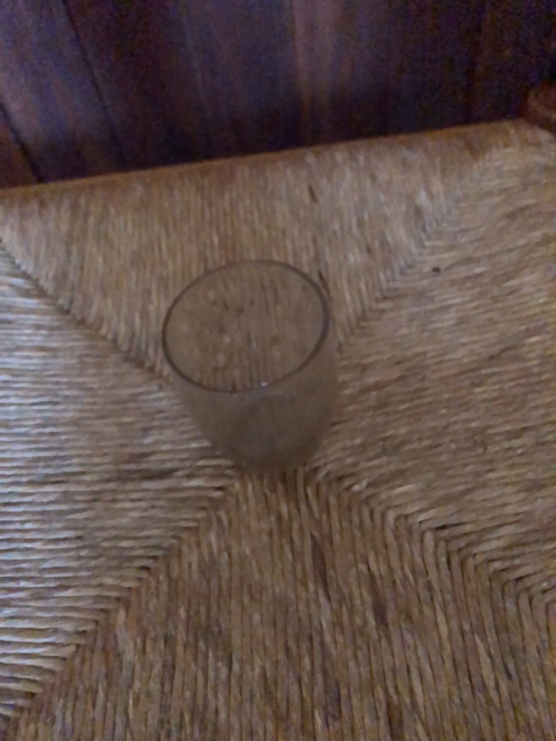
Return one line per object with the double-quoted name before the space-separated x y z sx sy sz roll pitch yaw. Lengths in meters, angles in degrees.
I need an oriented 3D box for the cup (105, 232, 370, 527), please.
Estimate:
"cup" -0.008 0.005 0.250 0.070 0.080 0.070 -4 55 5
